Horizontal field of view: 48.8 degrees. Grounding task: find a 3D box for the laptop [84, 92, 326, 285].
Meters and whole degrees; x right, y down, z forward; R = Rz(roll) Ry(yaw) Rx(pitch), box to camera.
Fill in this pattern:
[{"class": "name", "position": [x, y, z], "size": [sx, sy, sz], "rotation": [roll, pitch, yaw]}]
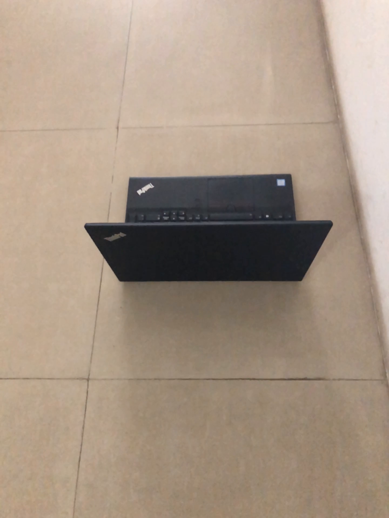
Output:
[{"class": "laptop", "position": [0.024, -0.116, 0.789], "size": [0.353, 0.240, 0.256], "rotation": [0, 65, 2]}]
